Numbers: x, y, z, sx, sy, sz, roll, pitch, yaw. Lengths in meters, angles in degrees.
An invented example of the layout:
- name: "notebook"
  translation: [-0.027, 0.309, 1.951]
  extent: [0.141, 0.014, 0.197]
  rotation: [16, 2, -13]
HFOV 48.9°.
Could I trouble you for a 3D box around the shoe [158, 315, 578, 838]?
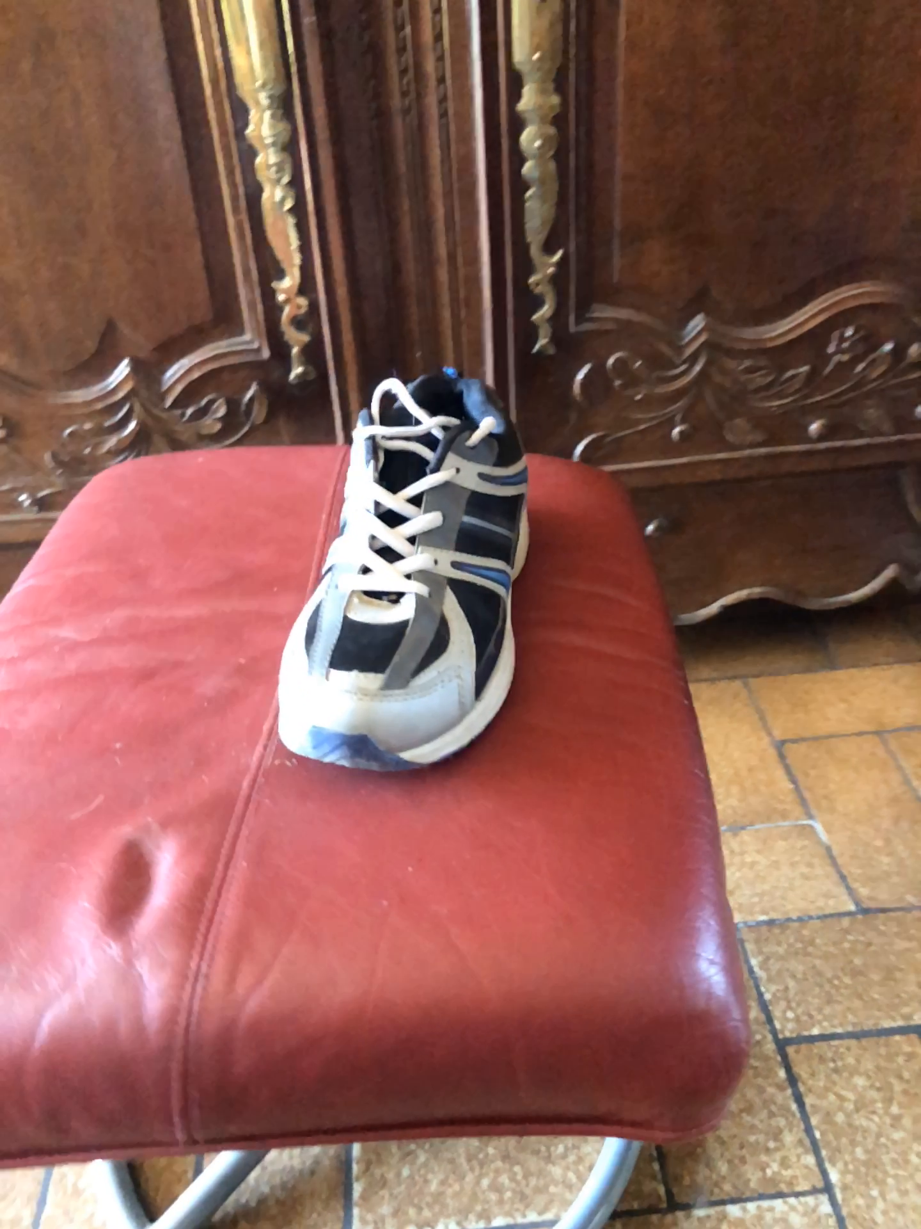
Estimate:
- name: "shoe"
  translation: [-0.019, -0.039, 0.483]
  extent: [0.110, 0.119, 0.262]
  rotation: [5, 36, 13]
